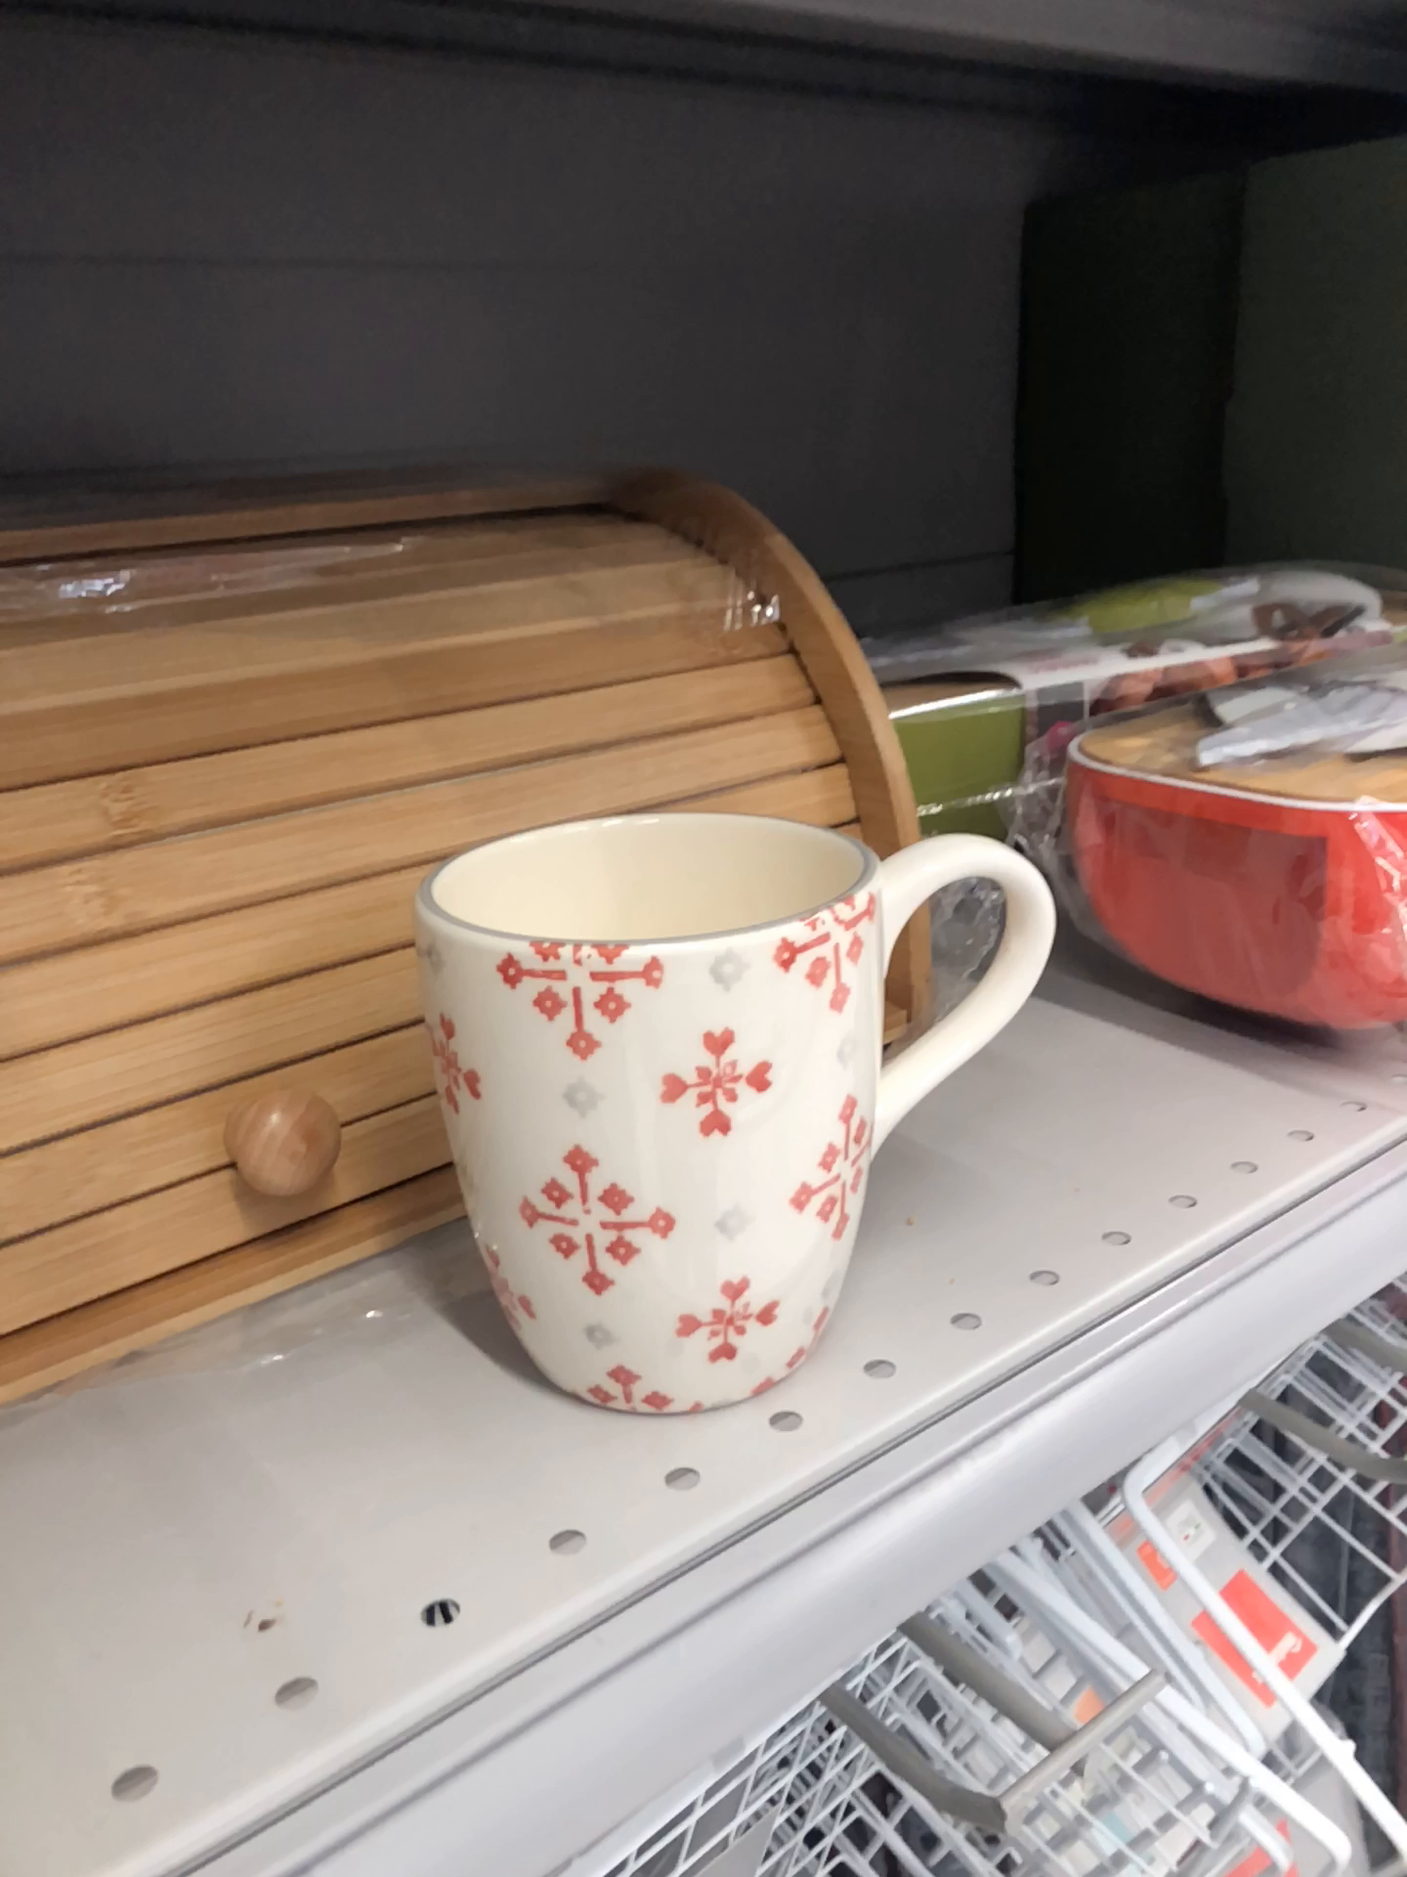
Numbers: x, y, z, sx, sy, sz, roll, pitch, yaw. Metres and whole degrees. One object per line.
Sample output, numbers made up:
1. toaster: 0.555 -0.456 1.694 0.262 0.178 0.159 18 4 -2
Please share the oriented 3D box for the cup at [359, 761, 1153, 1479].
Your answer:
1. cup: 0.008 0.025 0.311 0.125 0.089 0.090 -10 21 -22
